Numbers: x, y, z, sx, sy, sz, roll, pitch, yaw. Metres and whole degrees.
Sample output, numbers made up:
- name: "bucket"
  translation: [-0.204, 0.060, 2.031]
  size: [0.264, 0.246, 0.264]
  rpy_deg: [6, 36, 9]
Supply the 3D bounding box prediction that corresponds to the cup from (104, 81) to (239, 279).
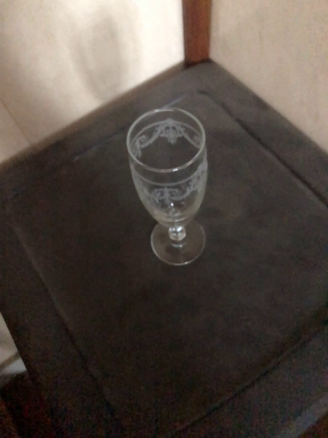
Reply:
- name: "cup"
  translation: [0.012, -0.017, 0.302]
  size: [0.060, 0.169, 0.060]
  rpy_deg: [-2, 63, 5]
